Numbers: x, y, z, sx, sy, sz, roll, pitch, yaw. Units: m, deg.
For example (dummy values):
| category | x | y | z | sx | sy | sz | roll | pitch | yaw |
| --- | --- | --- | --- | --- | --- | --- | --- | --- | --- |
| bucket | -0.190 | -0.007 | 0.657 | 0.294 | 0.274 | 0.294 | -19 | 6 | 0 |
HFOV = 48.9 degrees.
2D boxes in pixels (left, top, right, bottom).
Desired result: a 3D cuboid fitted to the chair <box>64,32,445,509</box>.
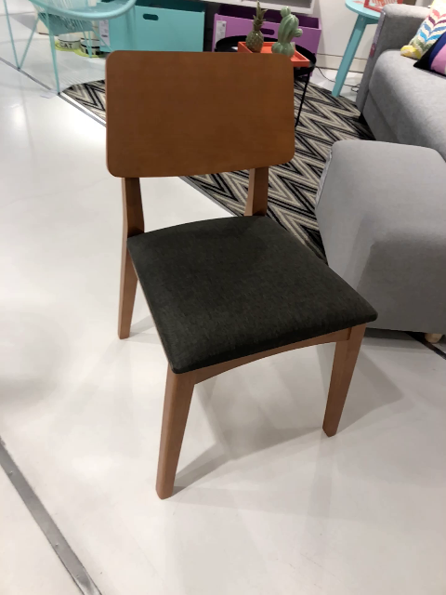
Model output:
| category | x | y | z | sx | sy | sz | roll | pitch | yaw |
| --- | --- | --- | --- | --- | --- | --- | --- | --- | --- |
| chair | 0.013 | -0.069 | 1.105 | 0.531 | 0.804 | 0.583 | -12 | 45 | -21 |
